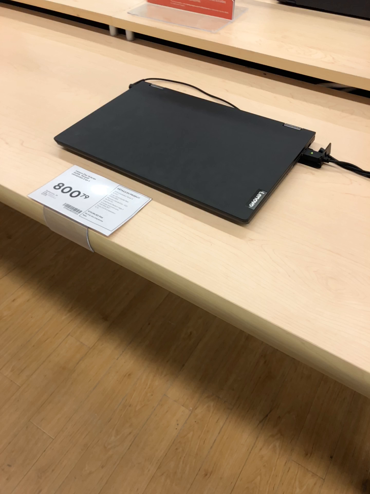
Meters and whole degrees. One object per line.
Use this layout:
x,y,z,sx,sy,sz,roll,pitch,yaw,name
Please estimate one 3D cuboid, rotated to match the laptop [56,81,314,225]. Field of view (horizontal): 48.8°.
-0.001,-0.163,0.625,0.326,0.009,0.212,26,55,22,laptop
